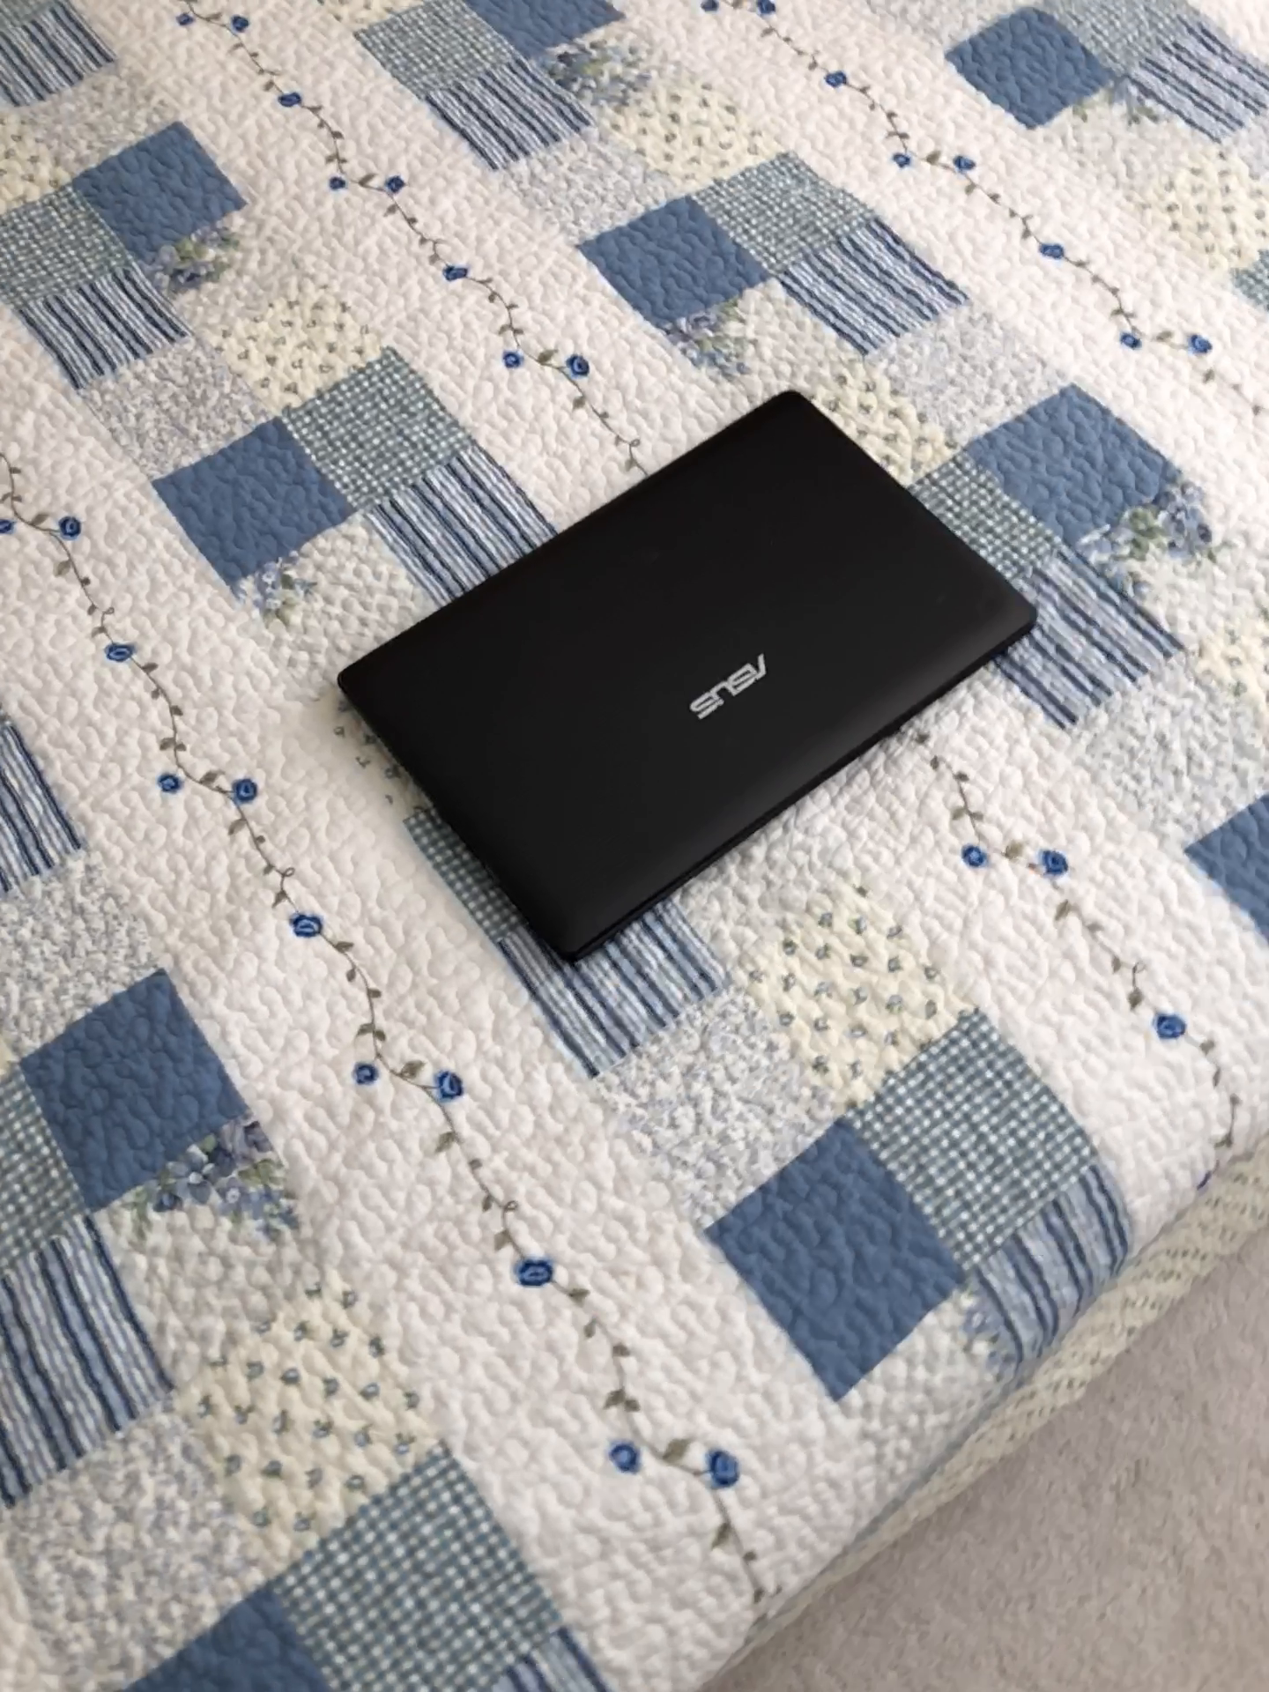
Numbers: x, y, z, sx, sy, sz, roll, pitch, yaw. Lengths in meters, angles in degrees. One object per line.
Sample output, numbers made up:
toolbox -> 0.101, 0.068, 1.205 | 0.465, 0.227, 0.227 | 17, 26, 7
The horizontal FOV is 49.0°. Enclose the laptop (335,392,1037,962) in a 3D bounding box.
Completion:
laptop -> 0.033, -0.122, 0.869 | 0.369, 0.006, 0.235 | -36, 69, -14
